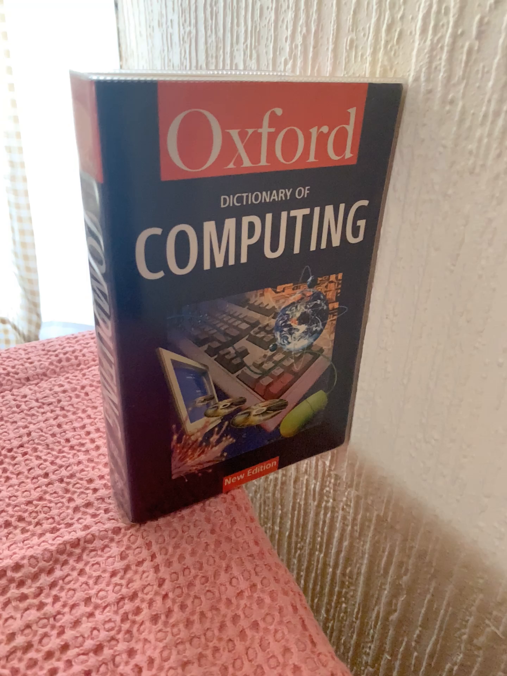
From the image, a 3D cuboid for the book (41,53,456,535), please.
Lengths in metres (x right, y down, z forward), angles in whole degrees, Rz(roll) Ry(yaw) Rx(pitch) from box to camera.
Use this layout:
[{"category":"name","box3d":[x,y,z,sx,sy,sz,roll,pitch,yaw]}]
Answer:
[{"category":"book","box3d":[0.002,-0.020,0.237,0.150,0.188,0.040,-14,32,-26]}]
